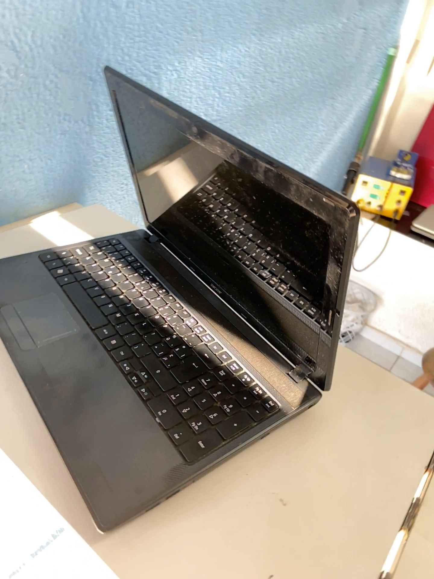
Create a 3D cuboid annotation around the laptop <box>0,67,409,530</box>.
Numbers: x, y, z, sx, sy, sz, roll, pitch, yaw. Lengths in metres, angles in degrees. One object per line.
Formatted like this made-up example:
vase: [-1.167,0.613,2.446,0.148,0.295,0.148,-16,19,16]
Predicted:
laptop: [-0.077,-0.049,0.452,0.254,0.234,0.375,-18,44,-34]
